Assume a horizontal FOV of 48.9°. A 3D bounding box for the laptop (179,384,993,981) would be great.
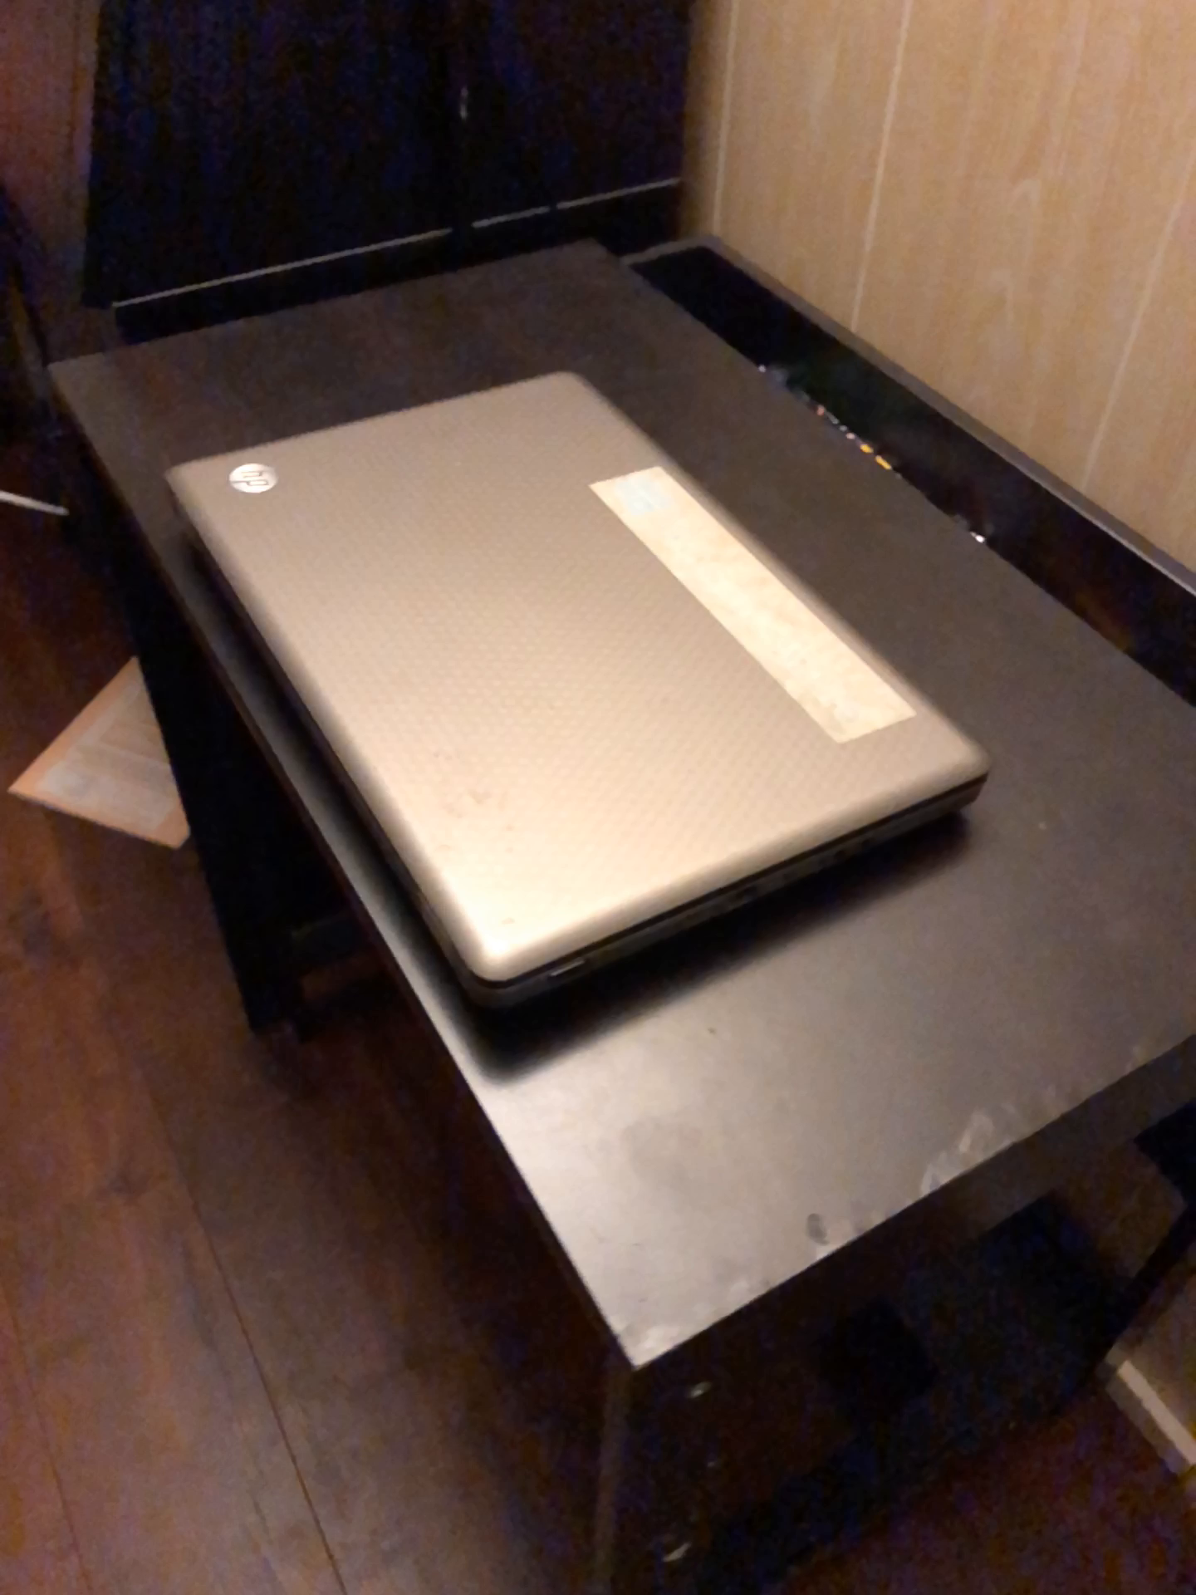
[{"bbox_3d":[-0.026,-0.088,0.618,0.237,0.001,0.359,-21,50,-21],"label":"laptop"}]
